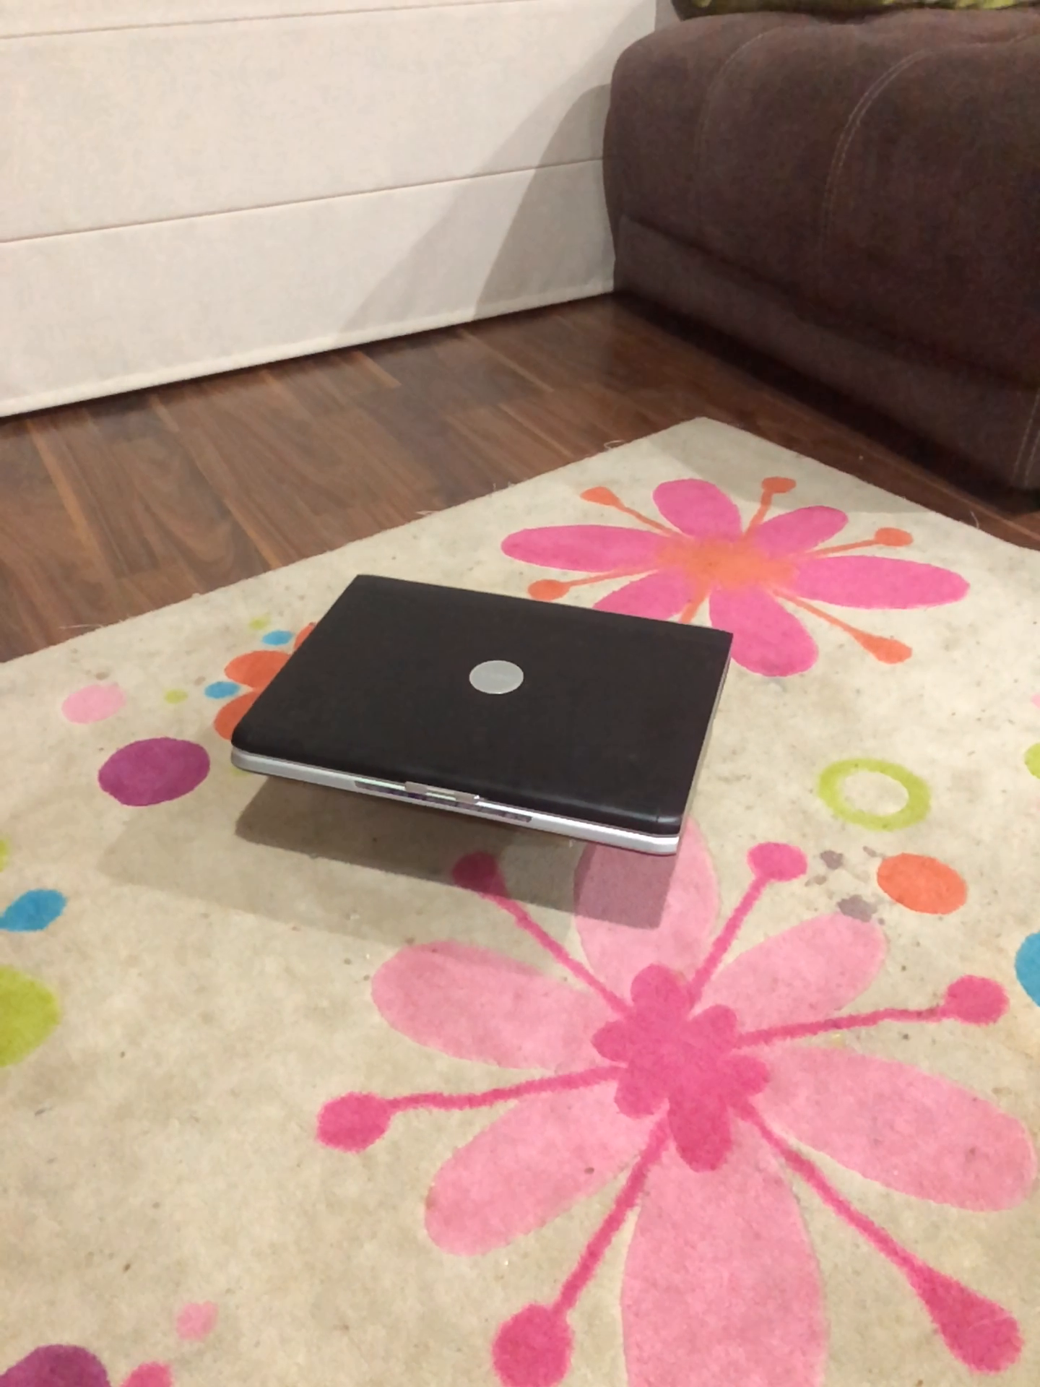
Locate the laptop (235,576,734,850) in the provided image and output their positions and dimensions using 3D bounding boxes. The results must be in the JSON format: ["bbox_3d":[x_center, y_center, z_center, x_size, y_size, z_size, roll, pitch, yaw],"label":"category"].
[{"bbox_3d":[-0.022,0.000,0.929,0.353,0.015,0.233,10,43,17],"label":"laptop"}]
